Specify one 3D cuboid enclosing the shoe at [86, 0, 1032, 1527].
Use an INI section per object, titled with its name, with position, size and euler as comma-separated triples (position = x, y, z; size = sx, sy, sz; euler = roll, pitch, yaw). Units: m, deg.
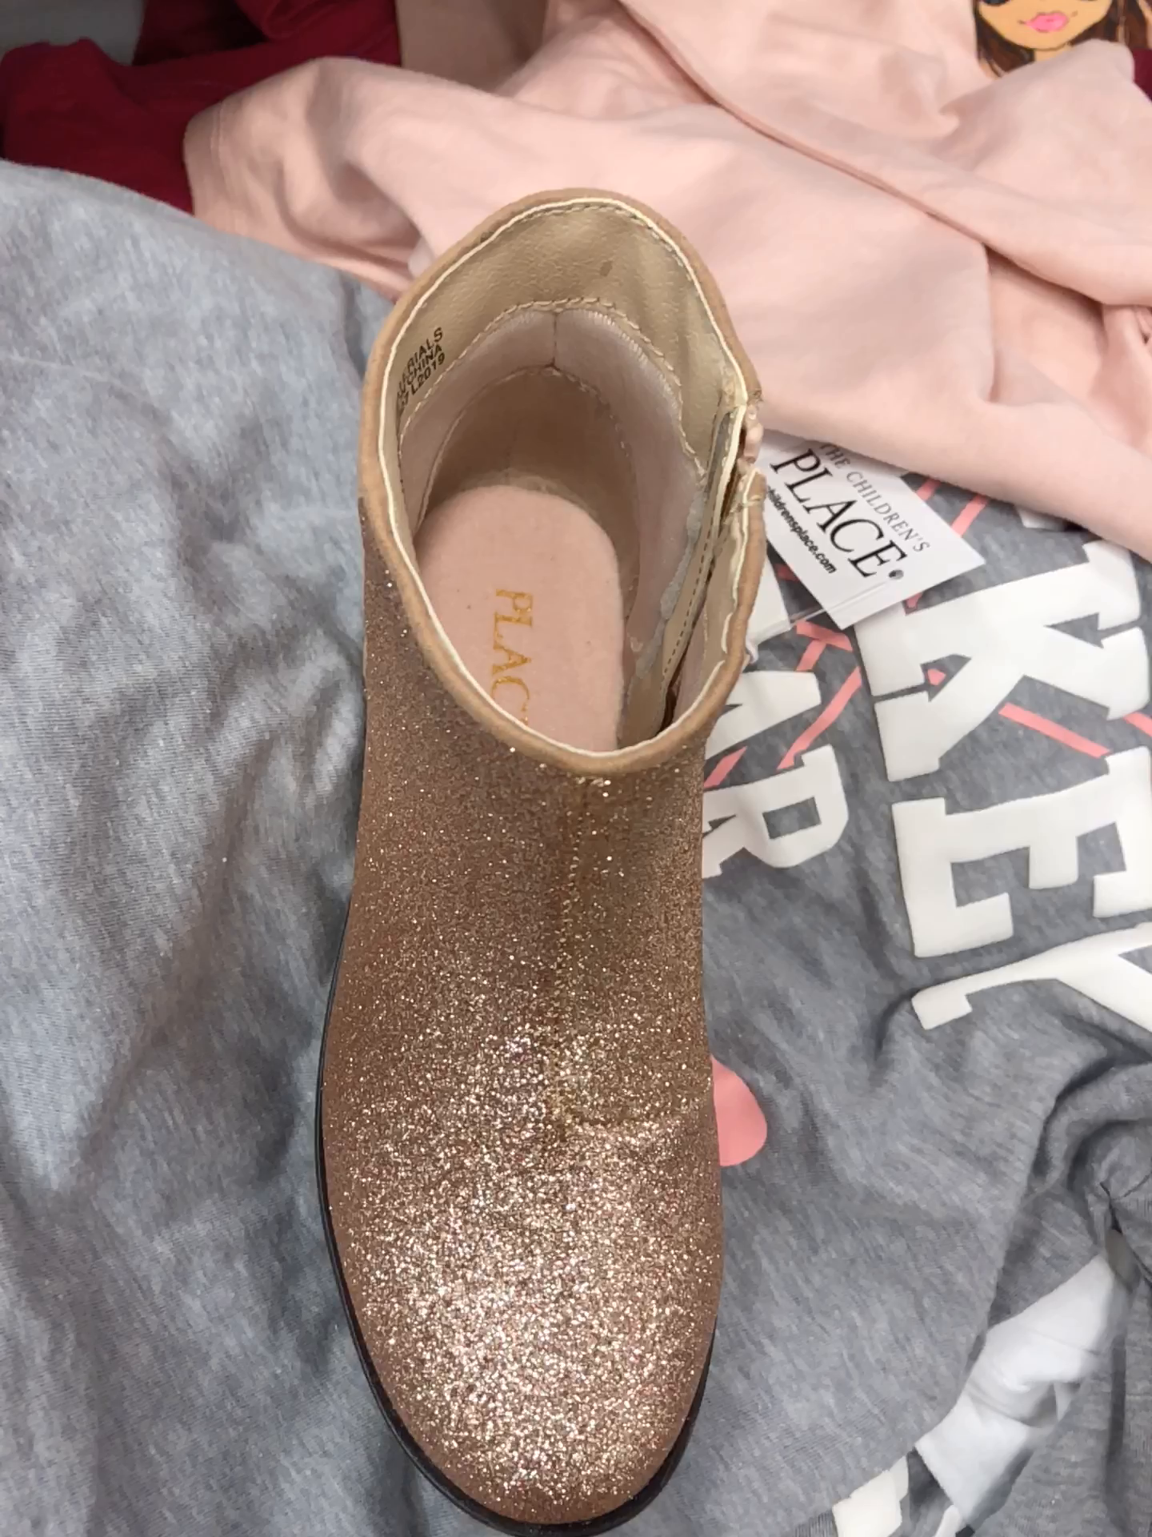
[shoe]
position = -0.008, -0.004, 0.230
size = 0.083, 0.130, 0.238
euler = 1, 59, -4
